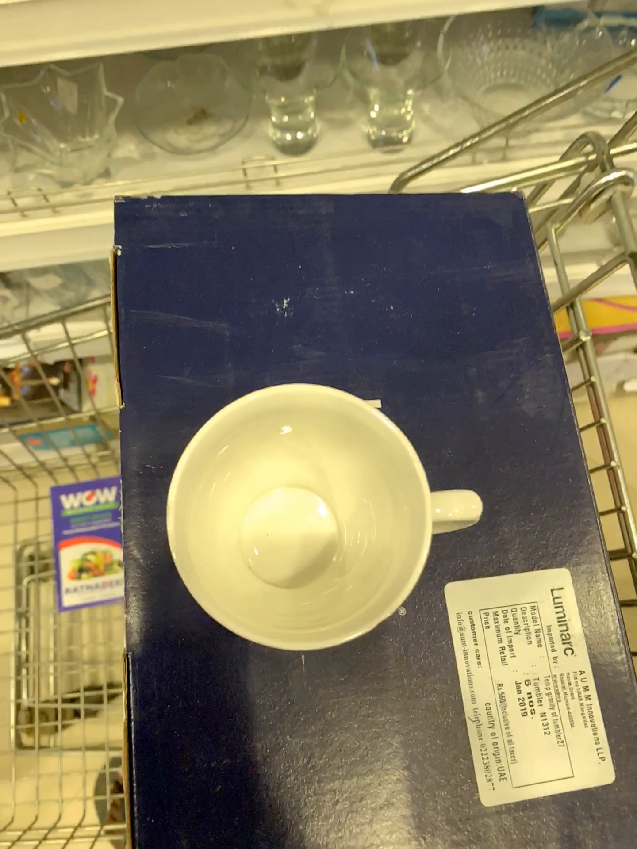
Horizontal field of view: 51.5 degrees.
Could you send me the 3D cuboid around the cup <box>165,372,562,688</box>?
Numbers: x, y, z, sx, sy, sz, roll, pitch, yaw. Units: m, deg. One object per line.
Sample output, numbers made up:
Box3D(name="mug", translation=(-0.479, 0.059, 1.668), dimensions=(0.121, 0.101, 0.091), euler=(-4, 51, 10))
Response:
Box3D(name="cup", translation=(0.008, 0.028, 0.177), dimensions=(0.090, 0.040, 0.070), euler=(-3, 74, -4))
